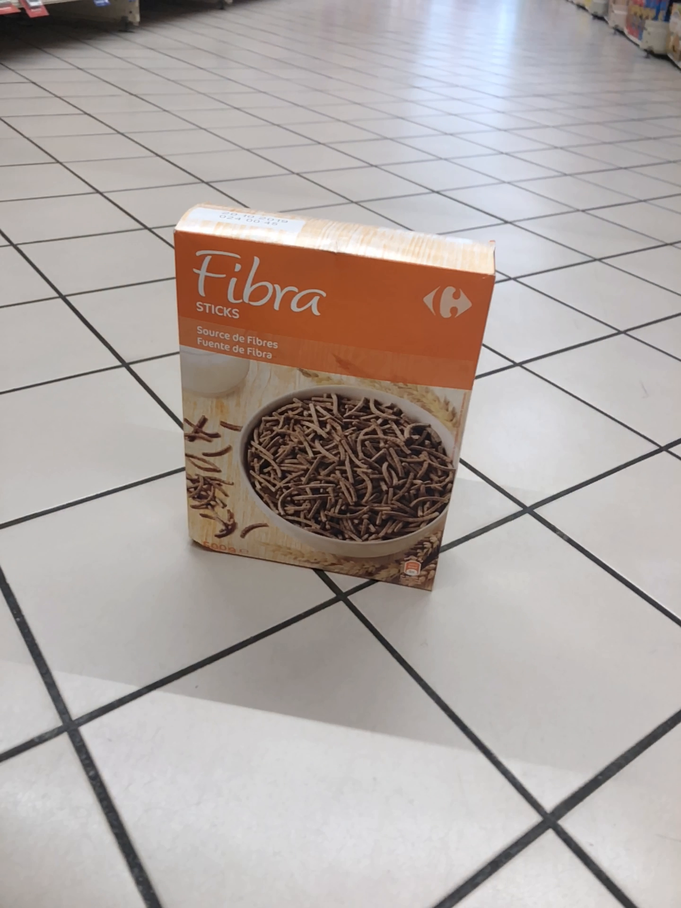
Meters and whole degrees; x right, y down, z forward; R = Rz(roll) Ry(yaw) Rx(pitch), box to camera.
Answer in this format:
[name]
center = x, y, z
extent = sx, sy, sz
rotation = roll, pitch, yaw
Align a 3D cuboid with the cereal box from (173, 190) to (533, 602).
[cereal box]
center = 0.002, -0.033, 0.507
extent = 0.200, 0.238, 0.081
rotation = 10, 34, 6
